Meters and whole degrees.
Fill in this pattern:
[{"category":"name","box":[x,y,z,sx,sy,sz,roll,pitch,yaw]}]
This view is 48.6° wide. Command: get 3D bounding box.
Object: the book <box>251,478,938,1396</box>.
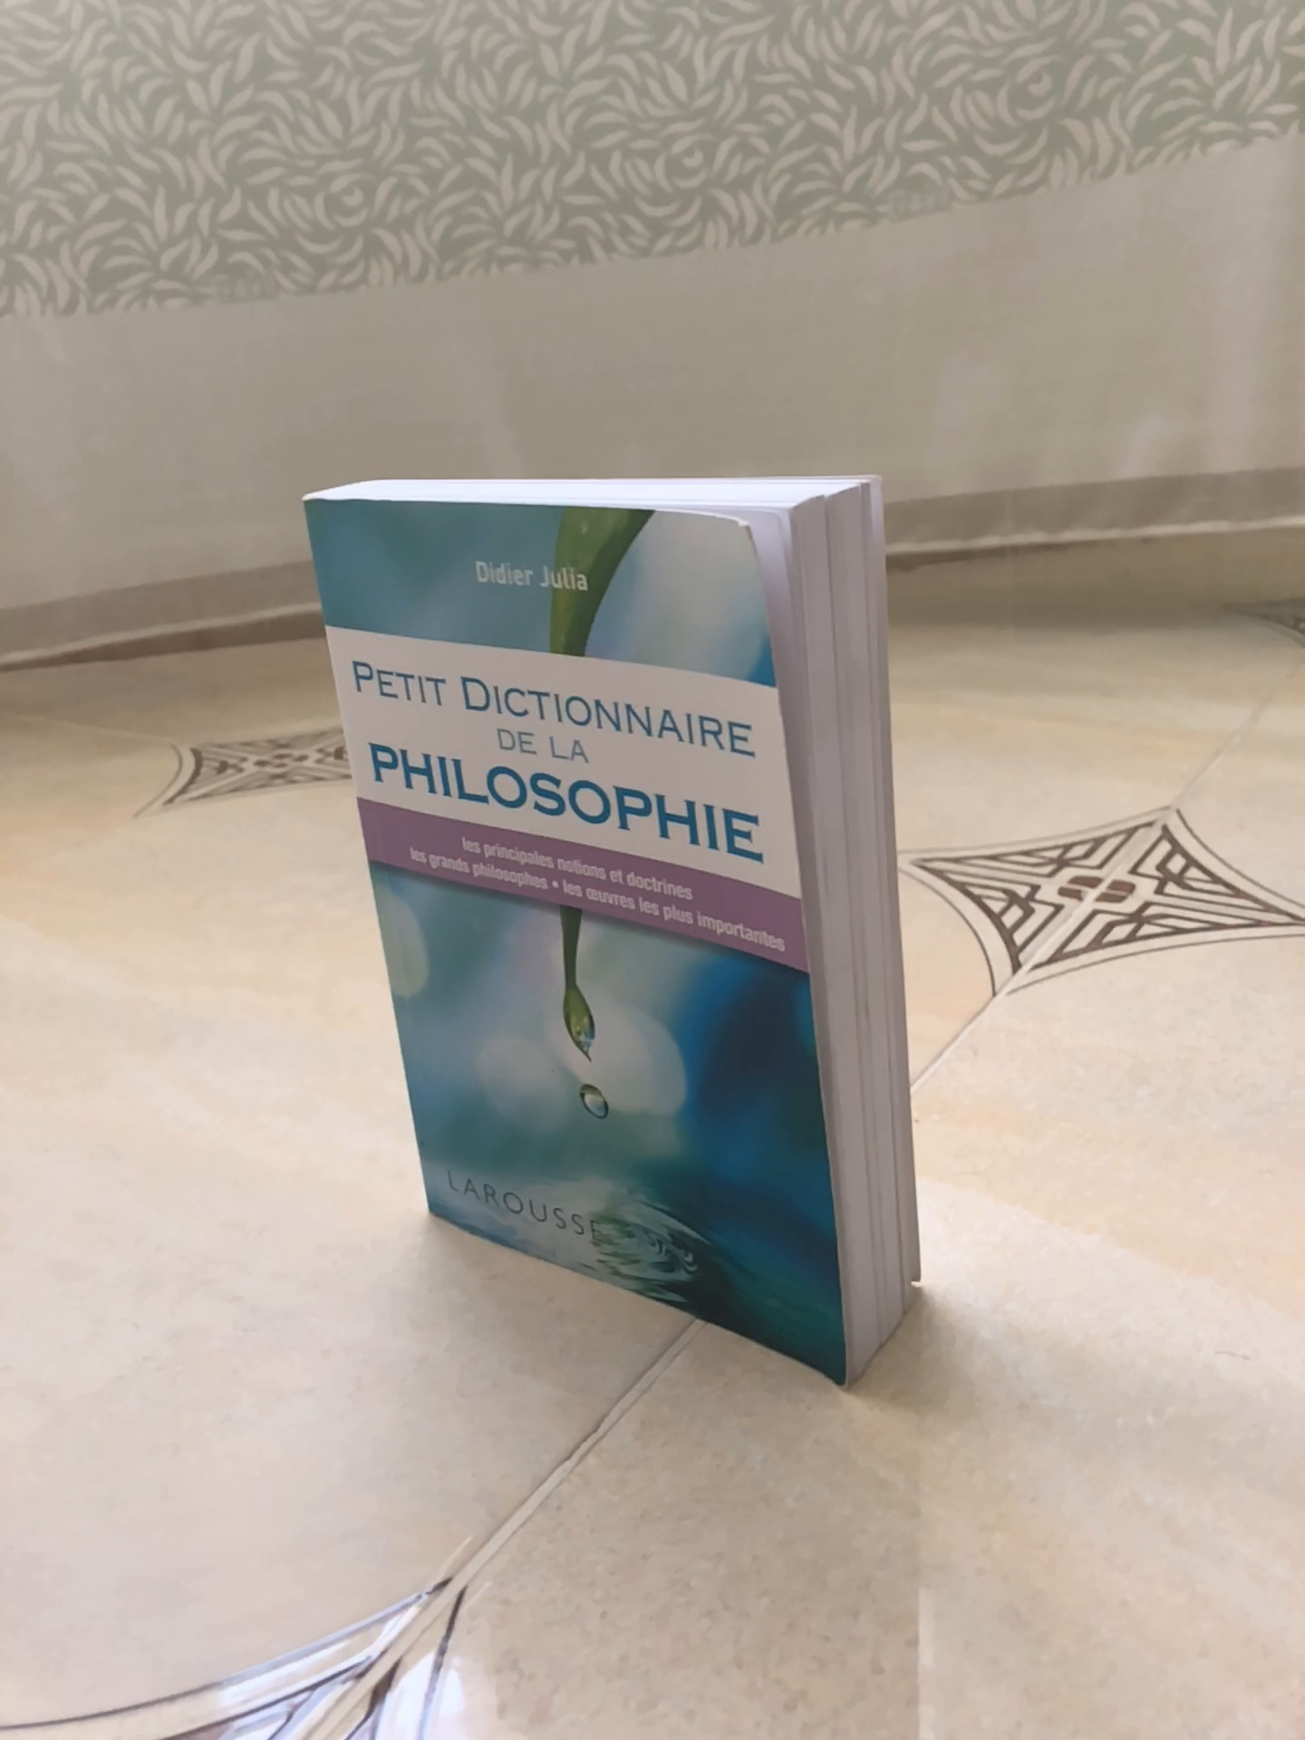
[{"category":"book","box":[-0.011,0.010,0.325,0.140,0.185,0.034,11,29,36]}]
